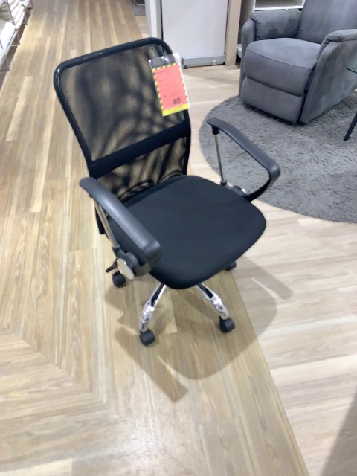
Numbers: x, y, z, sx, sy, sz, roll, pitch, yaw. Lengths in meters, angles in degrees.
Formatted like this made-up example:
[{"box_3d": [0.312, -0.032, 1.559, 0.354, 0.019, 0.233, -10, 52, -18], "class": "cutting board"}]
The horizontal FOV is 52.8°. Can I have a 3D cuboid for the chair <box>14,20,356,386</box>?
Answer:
[{"box_3d": [0.019, -0.126, 1.207, 0.642, 0.865, 0.602, -31, 52, -28], "class": "chair"}]
